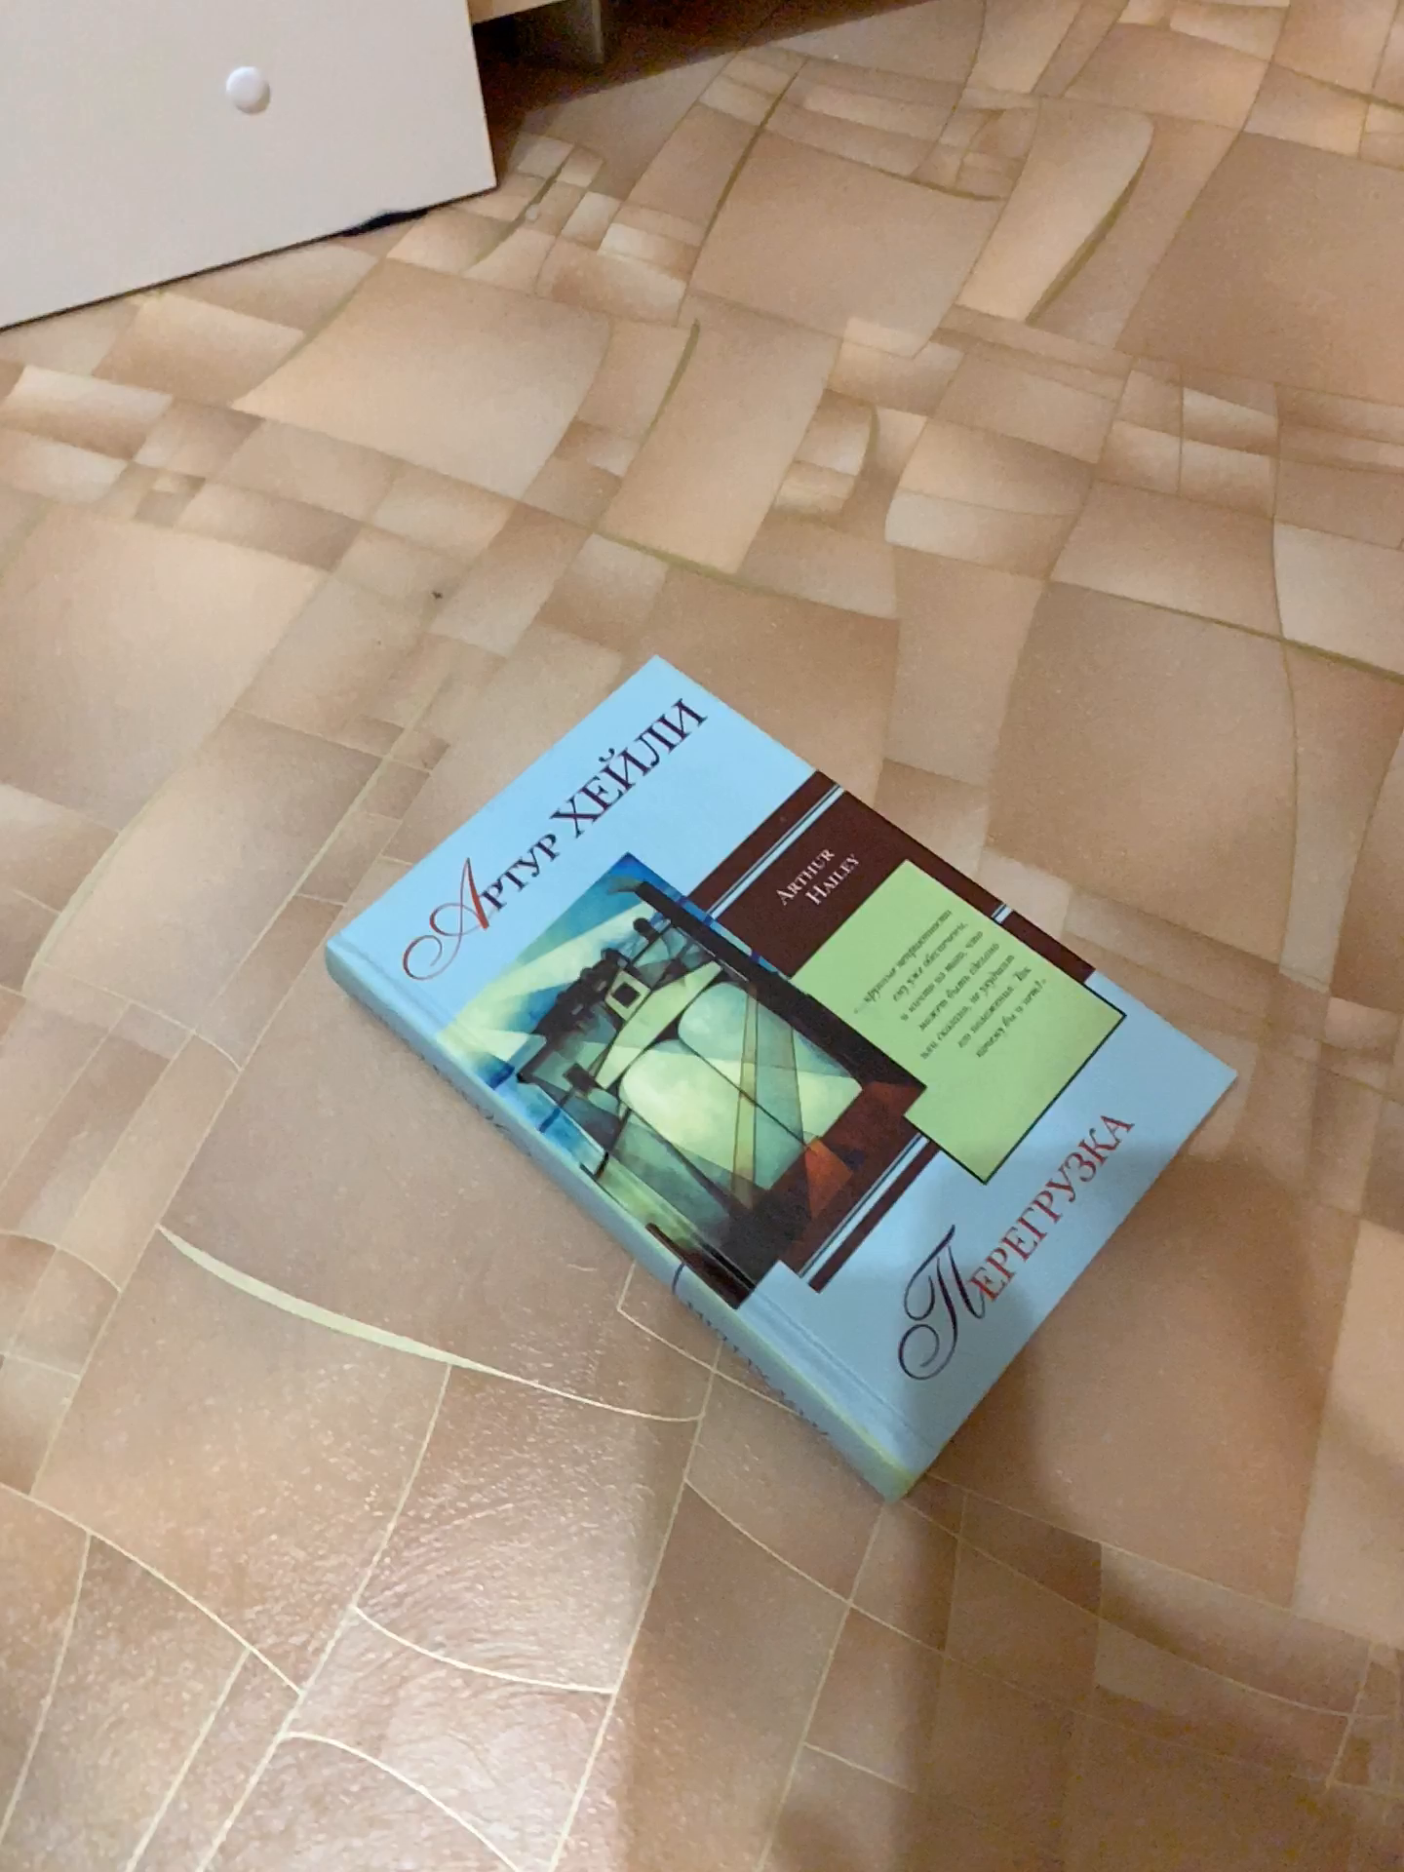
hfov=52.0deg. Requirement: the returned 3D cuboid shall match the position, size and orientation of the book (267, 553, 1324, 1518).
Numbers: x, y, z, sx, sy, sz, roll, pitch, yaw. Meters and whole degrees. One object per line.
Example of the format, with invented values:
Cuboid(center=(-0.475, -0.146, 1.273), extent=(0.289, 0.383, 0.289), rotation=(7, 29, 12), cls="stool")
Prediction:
Cuboid(center=(0.020, 0.012, 0.369), extent=(0.211, 0.040, 0.150), rotation=(38, 70, 19), cls="book")
